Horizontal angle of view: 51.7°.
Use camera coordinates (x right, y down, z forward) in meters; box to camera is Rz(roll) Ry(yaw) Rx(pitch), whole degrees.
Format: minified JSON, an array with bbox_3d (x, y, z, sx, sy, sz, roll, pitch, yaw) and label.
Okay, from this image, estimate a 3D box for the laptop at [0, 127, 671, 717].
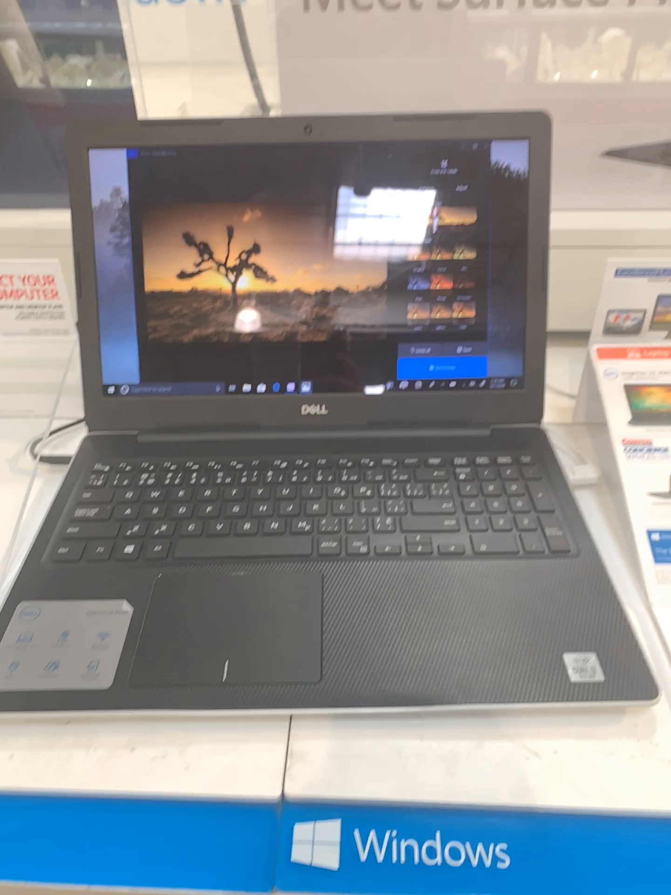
[{"bbox_3d":[-0.012,-0.051,0.428,0.357,0.205,0.343,-1,36,-1],"label":"laptop"}]
